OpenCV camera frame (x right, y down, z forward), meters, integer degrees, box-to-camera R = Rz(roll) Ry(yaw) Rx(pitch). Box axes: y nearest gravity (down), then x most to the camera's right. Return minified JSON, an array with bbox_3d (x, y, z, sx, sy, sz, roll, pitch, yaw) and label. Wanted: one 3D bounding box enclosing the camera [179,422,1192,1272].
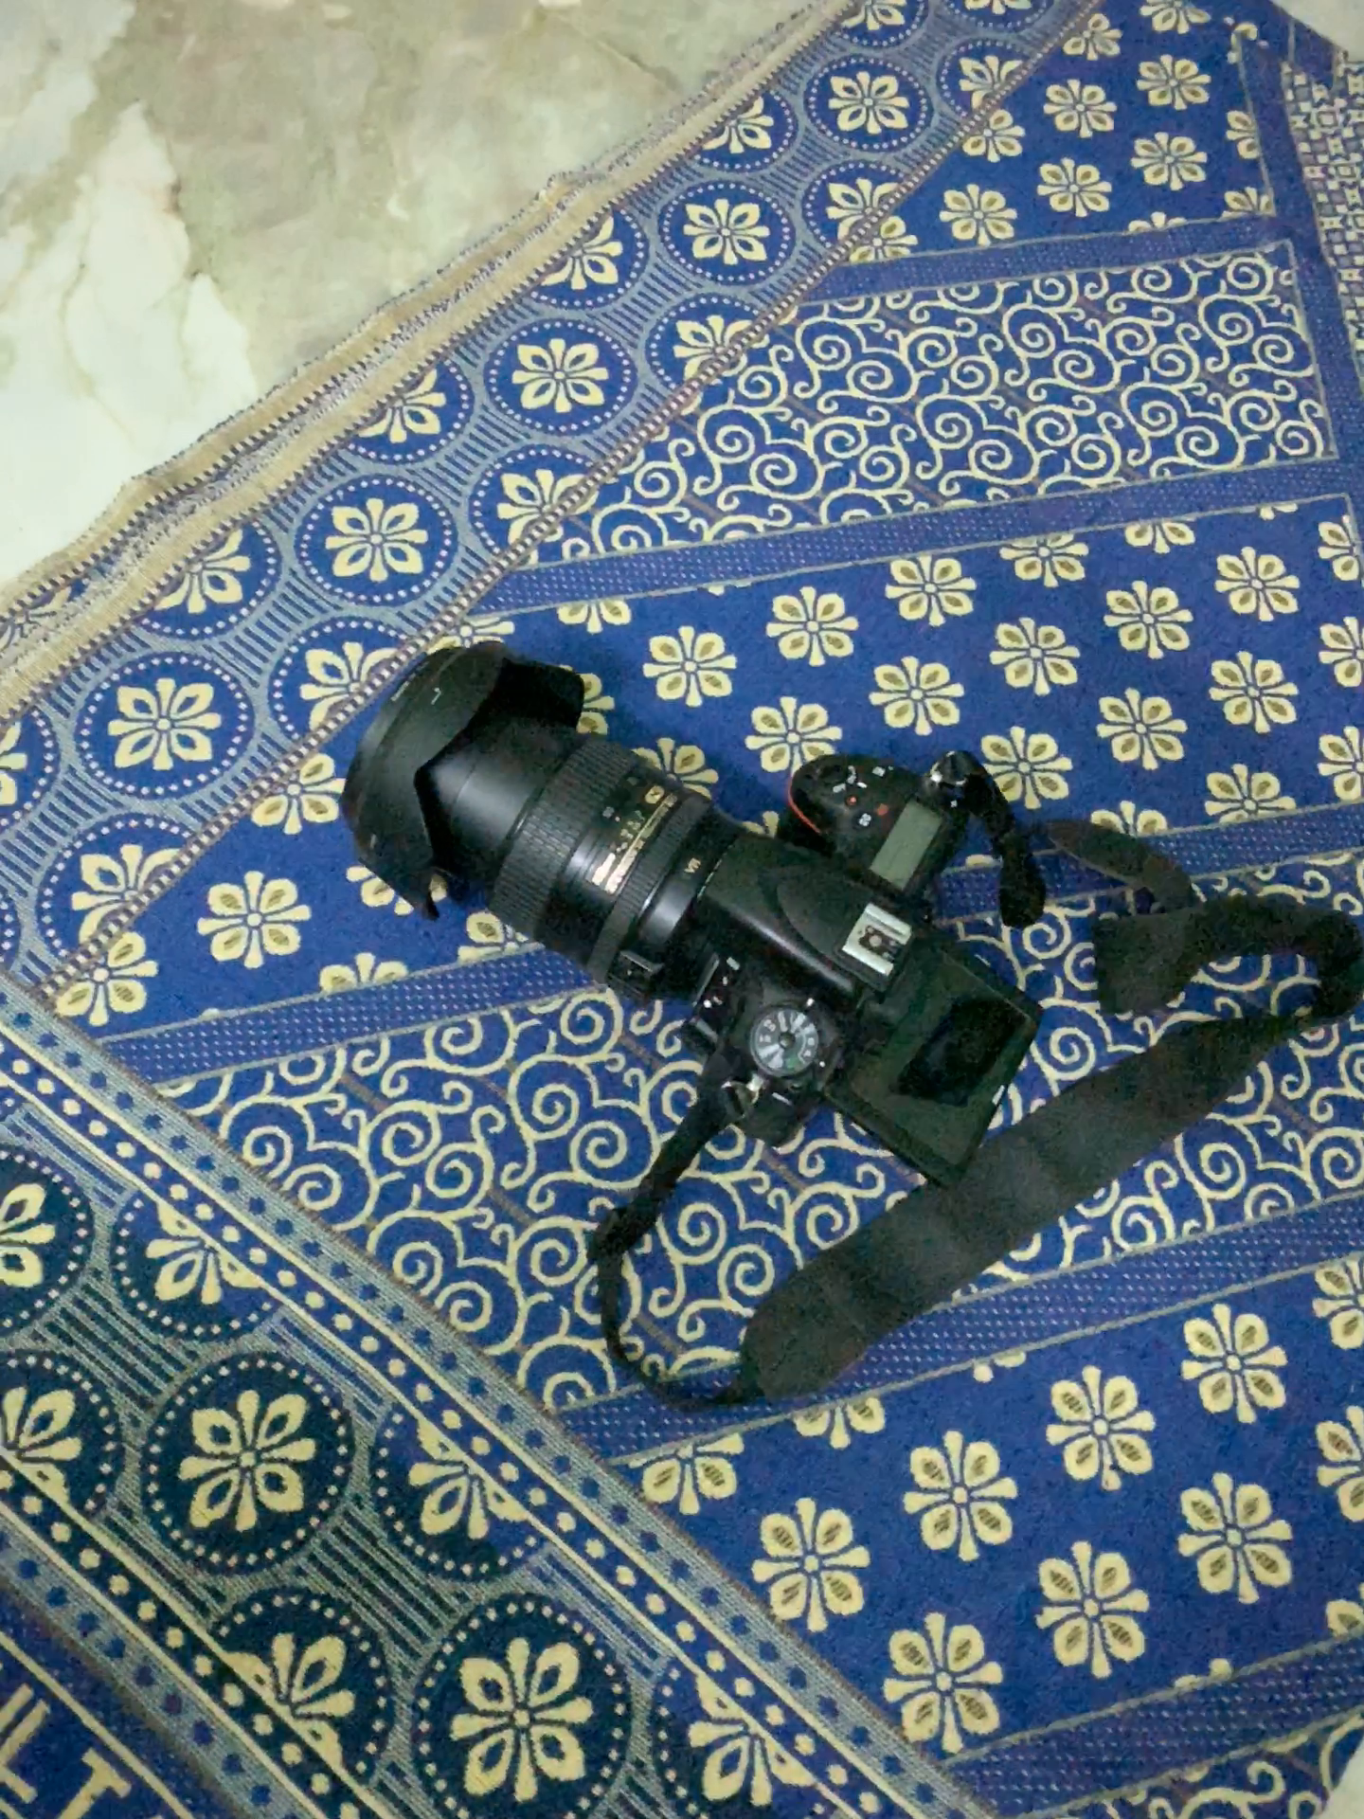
[{"bbox_3d":[-0.001,-0.024,0.540,0.320,0.110,0.160,31,69,8],"label":"camera"}]
